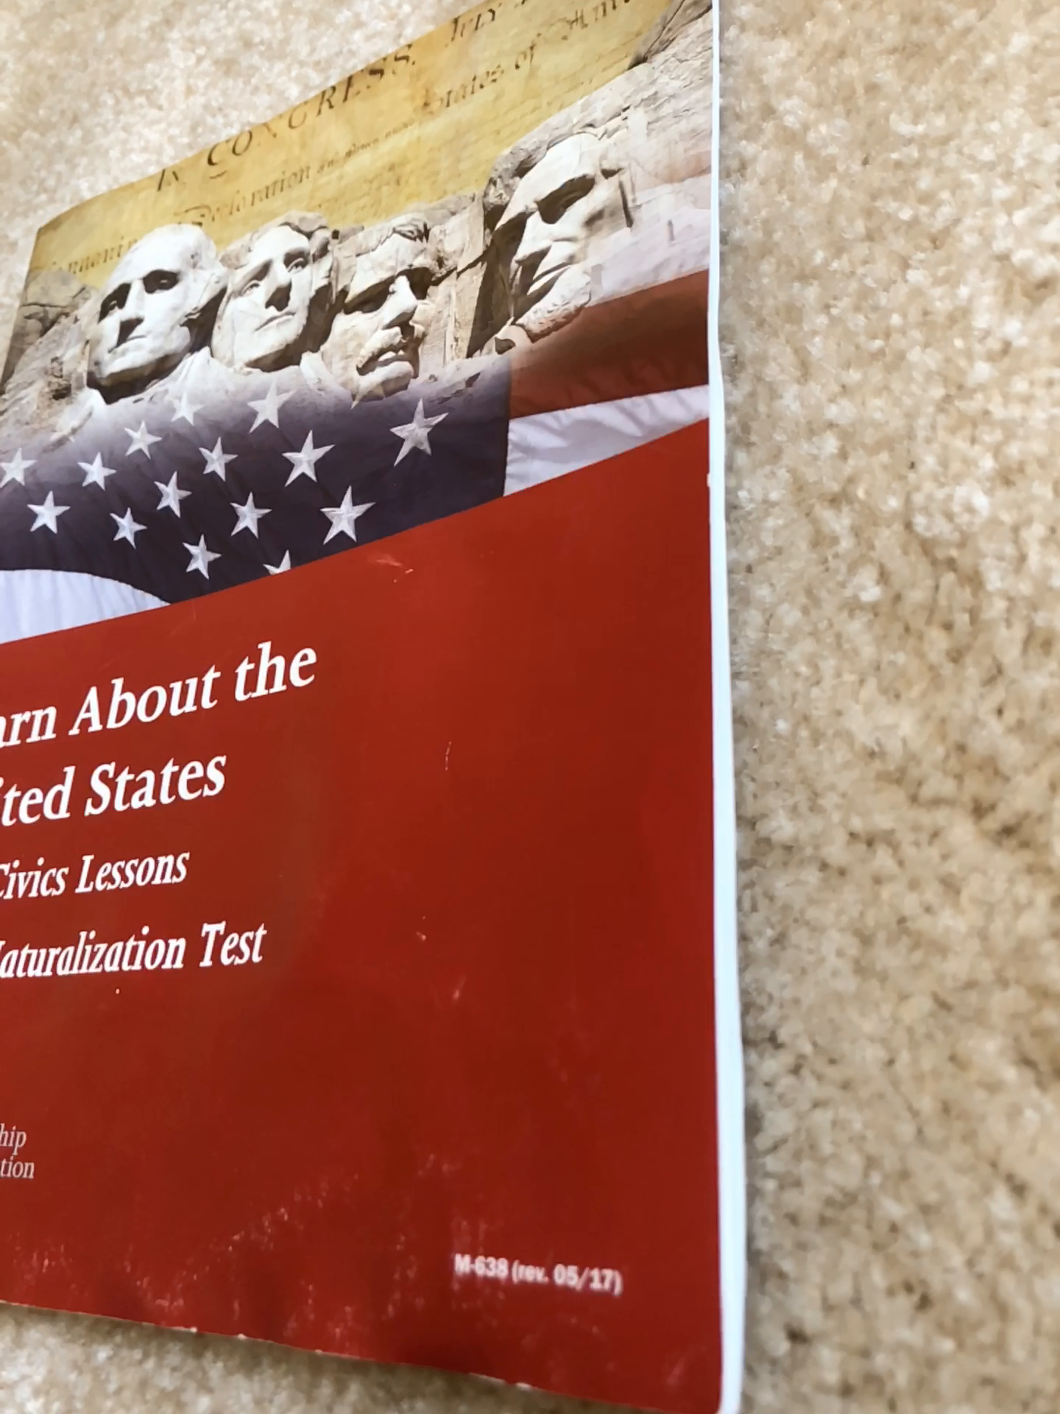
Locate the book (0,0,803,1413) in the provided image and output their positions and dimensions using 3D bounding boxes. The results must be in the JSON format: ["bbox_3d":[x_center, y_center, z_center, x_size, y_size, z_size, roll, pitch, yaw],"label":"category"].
[{"bbox_3d":[-0.054,-0.023,0.244,0.208,0.028,0.274,-11,63,31],"label":"book"}]
